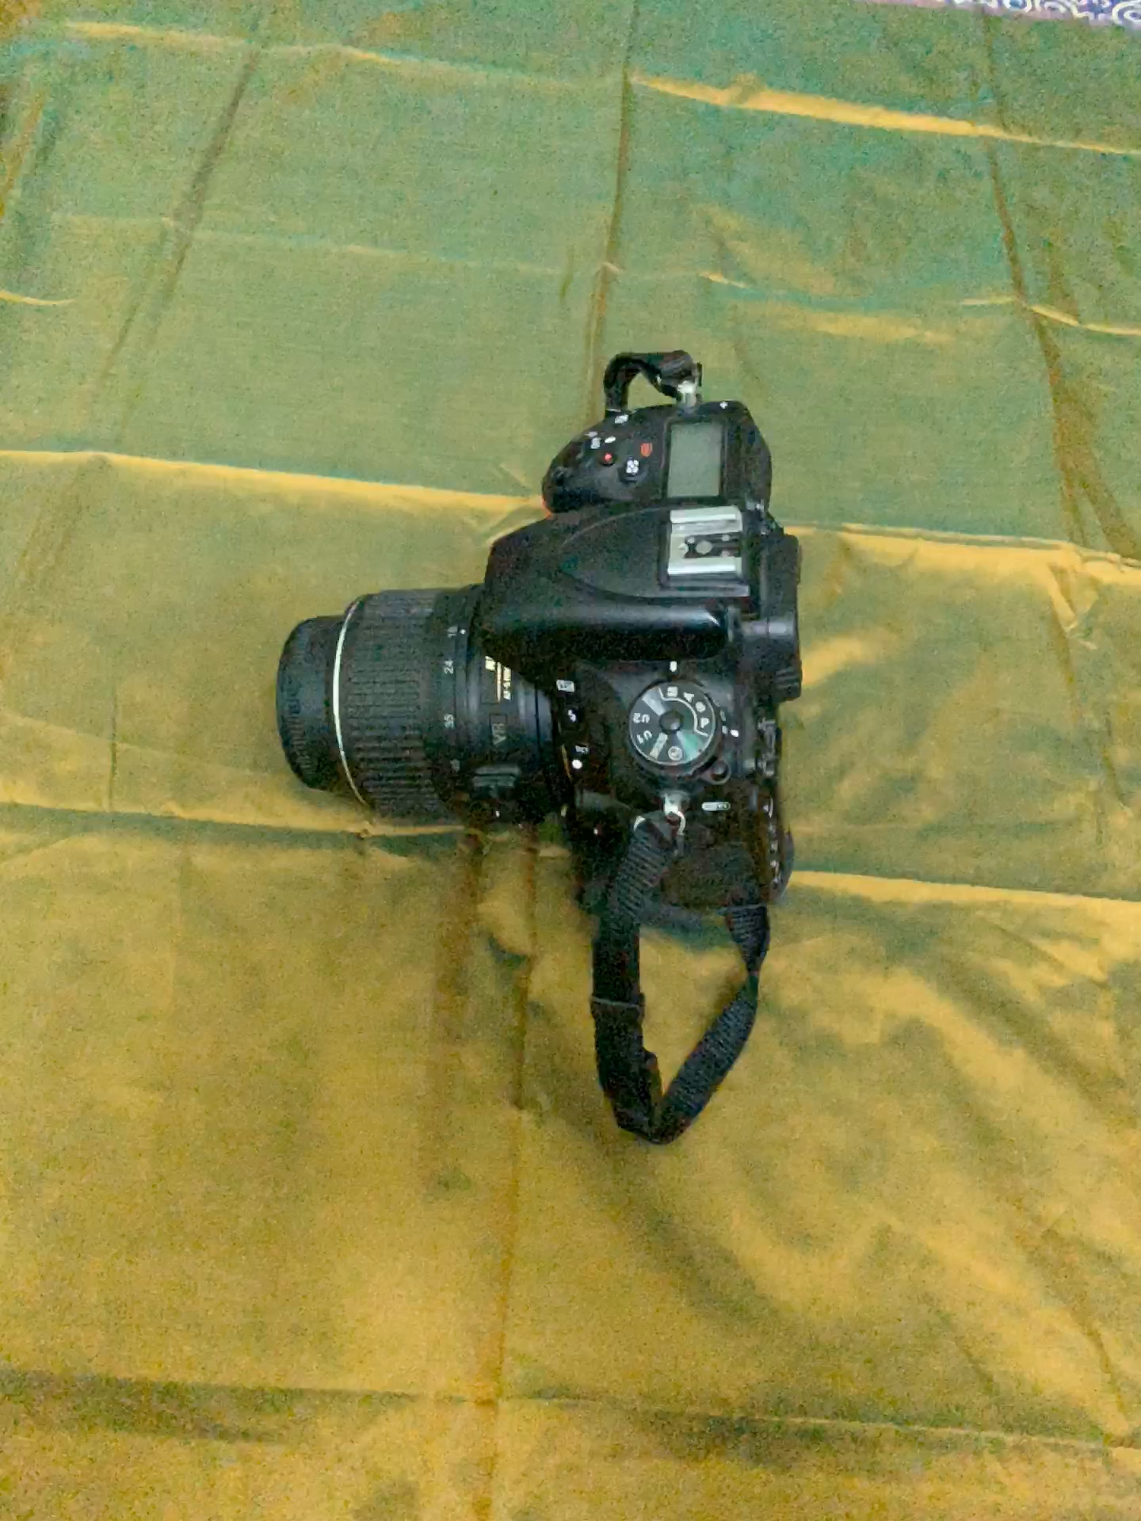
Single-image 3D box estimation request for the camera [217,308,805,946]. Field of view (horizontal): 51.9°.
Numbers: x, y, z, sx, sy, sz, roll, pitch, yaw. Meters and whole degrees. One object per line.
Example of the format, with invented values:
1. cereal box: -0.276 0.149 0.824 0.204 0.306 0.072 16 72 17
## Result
1. camera: -0.001 -0.032 0.348 0.131 0.120 0.135 -2 57 13
